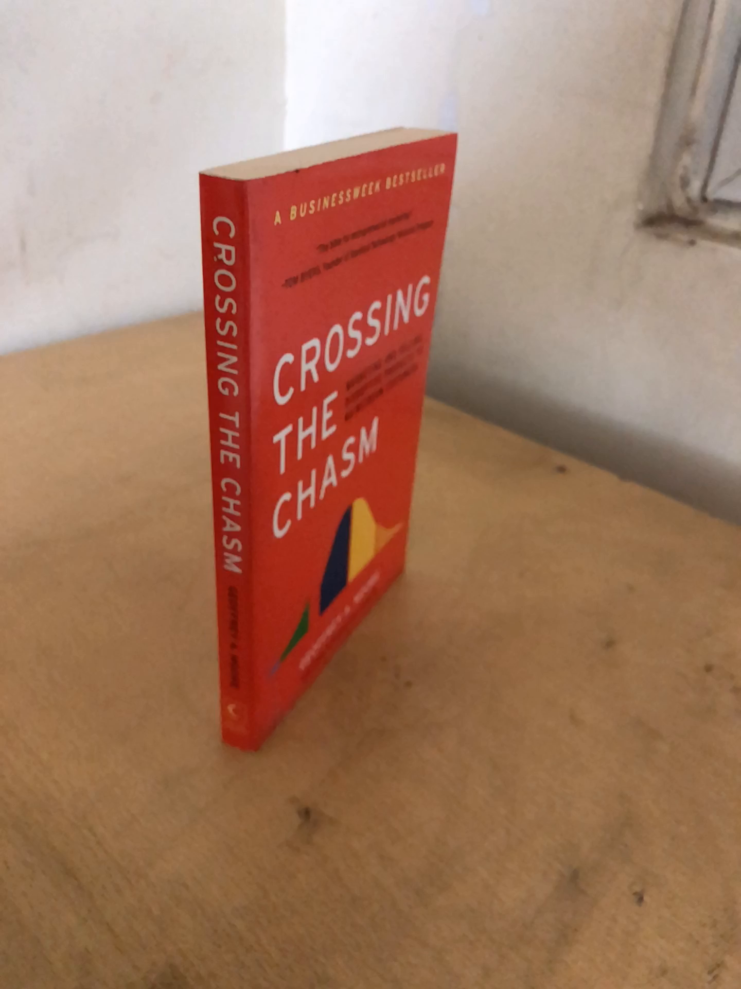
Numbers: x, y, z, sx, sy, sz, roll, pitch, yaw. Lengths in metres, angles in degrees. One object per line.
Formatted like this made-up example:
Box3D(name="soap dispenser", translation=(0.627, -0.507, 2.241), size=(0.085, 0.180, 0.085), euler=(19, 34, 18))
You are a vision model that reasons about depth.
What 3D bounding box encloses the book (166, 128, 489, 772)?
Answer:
Box3D(name="book", translation=(-0.008, -0.025, 0.321), size=(0.030, 0.199, 0.161), euler=(17, 32, 21))
